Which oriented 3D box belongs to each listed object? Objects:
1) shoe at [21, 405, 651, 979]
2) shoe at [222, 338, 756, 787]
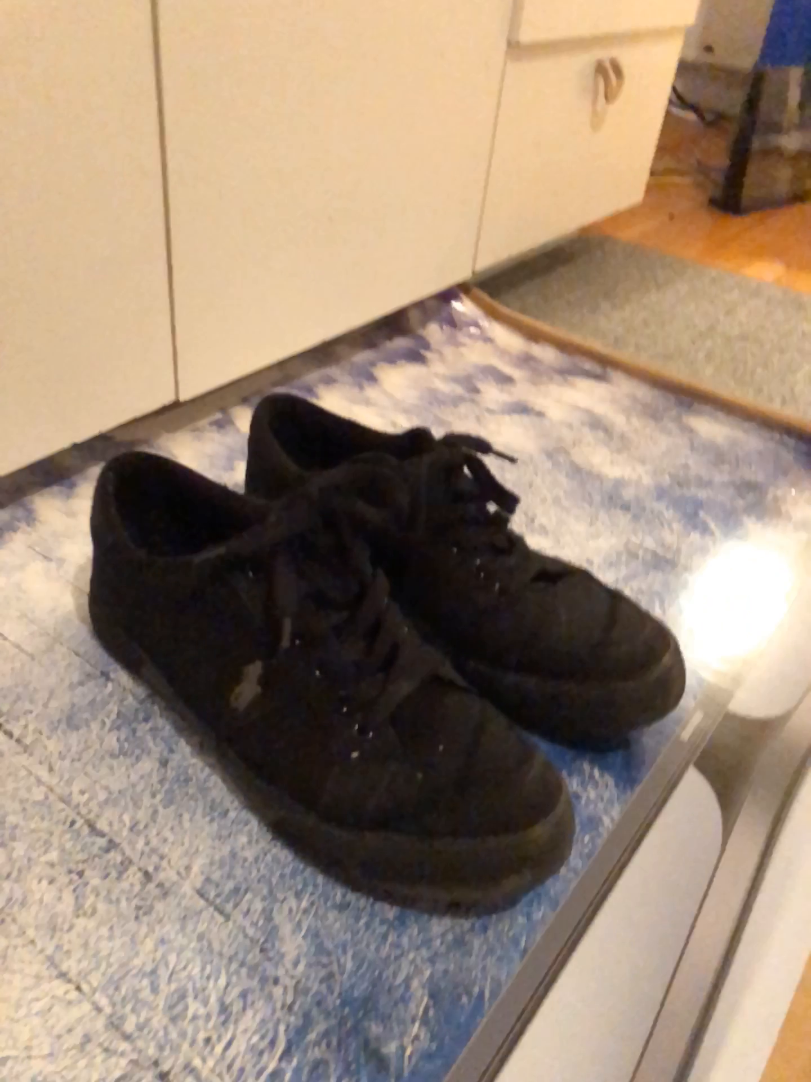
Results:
[{"bbox_3d":[-0.044,0.050,0.422,0.271,0.109,0.111,28,41,27],"label":"shoe"},{"bbox_3d":[0.032,-0.004,0.492,0.261,0.109,0.111,28,41,27],"label":"shoe"}]
